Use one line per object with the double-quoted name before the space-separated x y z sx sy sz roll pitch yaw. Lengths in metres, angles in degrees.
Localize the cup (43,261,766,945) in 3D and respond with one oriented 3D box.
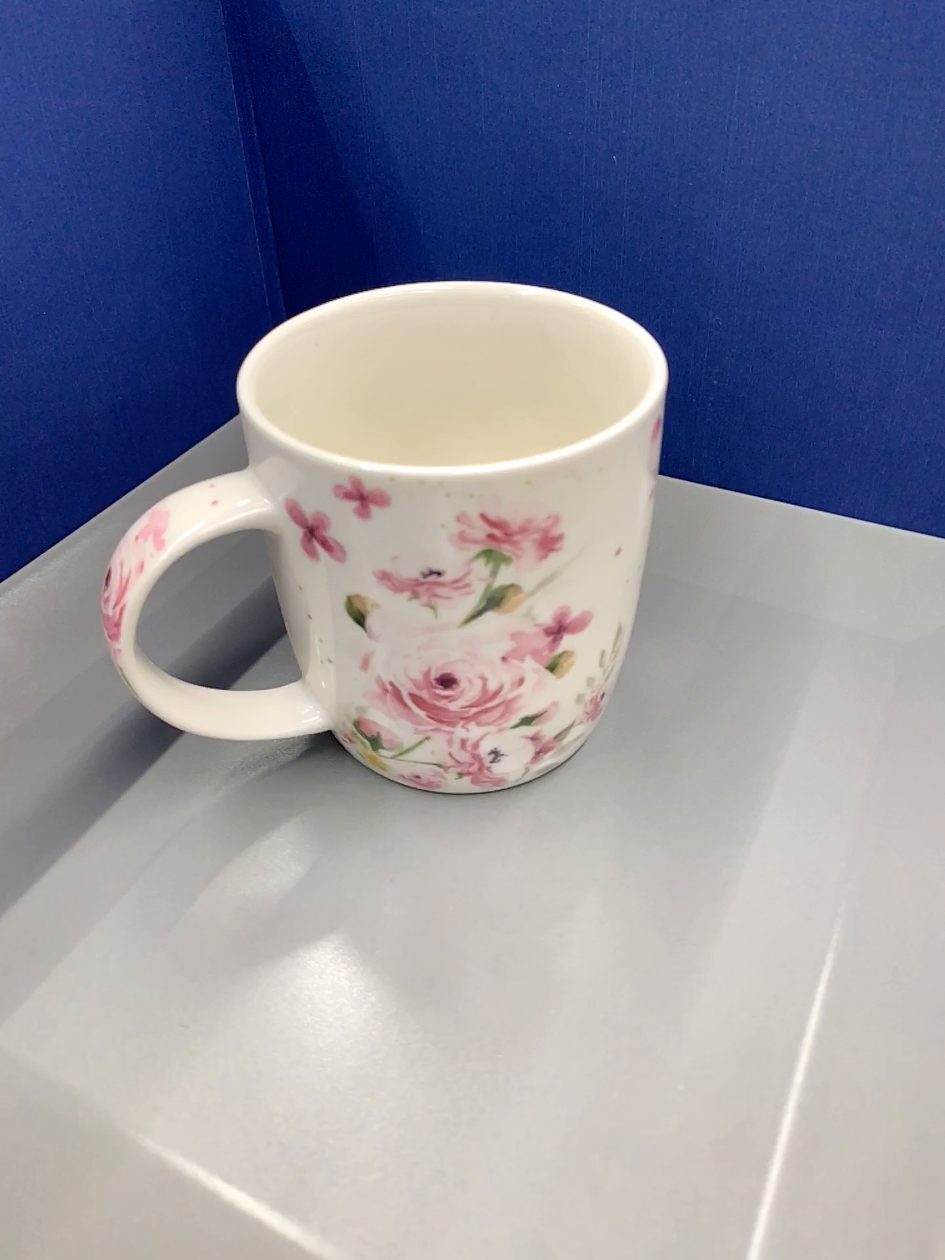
"cup" -0.017 -0.013 0.203 0.110 0.087 0.085 -14 39 -16
